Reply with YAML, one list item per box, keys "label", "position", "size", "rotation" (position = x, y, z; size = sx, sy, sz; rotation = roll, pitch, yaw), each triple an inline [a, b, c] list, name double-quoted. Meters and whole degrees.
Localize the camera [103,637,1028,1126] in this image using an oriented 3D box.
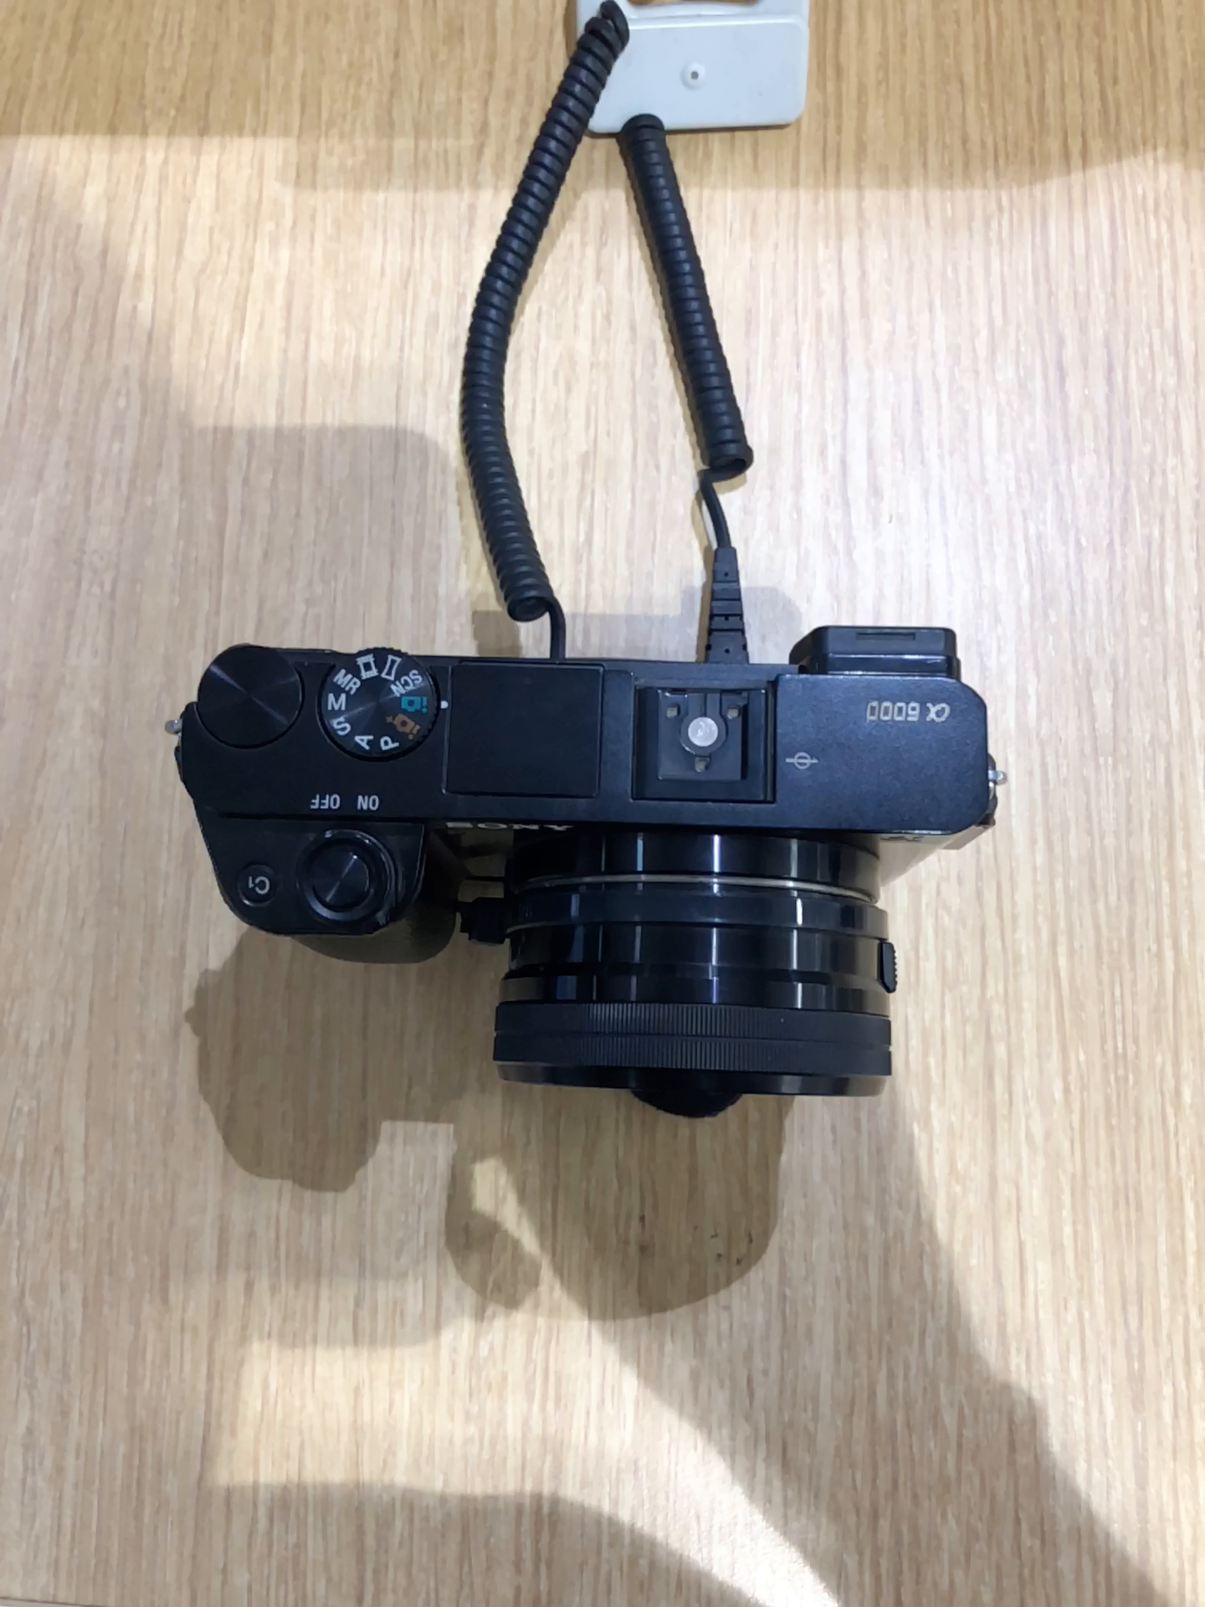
- label: "camera"
  position: [-0.004, 0.015, 0.196]
  size: [0.107, 0.070, 0.059]
  rotation: [0, 78, 1]
